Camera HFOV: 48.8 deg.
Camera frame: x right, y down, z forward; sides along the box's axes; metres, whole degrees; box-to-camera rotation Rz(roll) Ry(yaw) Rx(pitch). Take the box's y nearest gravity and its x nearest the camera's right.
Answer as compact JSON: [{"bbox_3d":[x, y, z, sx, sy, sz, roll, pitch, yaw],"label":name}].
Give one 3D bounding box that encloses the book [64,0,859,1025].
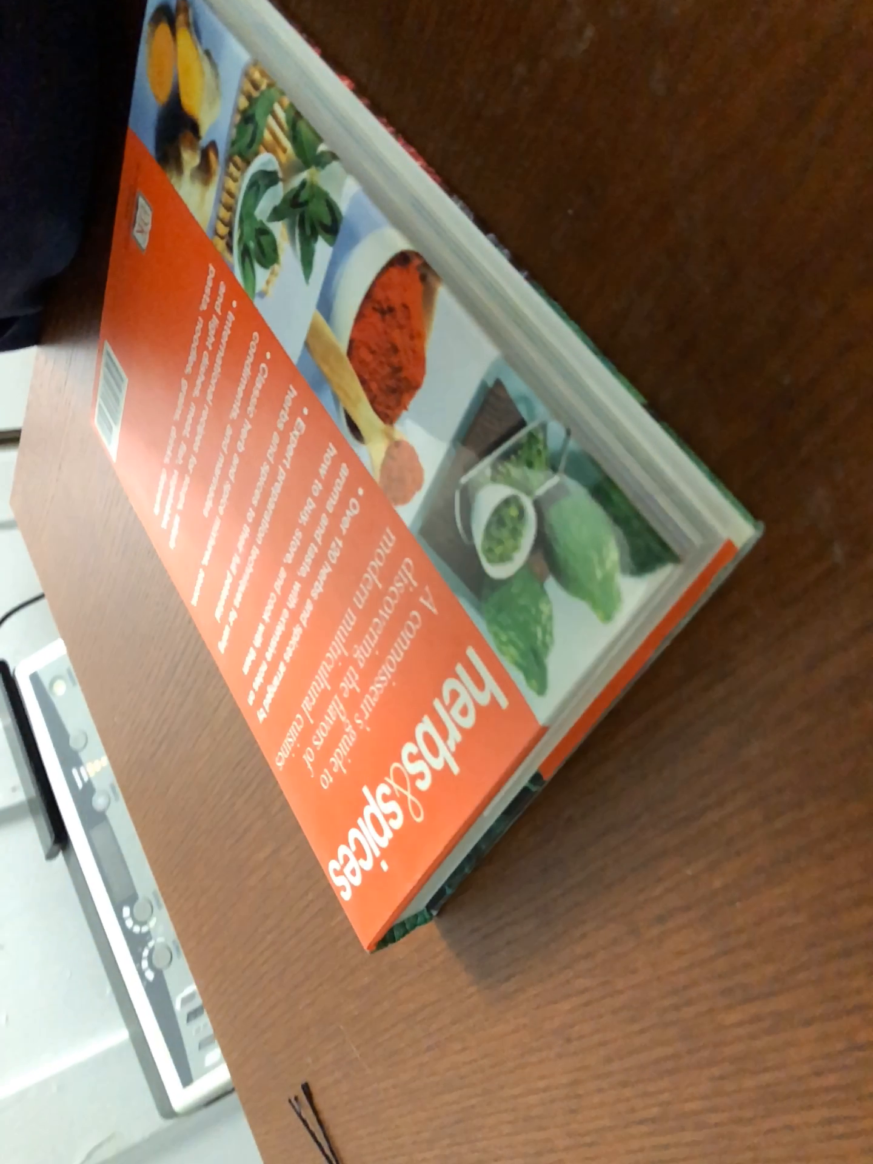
[{"bbox_3d":[-0.041,-0.031,0.302,0.271,0.040,0.211,57,139,25],"label":"book"}]
